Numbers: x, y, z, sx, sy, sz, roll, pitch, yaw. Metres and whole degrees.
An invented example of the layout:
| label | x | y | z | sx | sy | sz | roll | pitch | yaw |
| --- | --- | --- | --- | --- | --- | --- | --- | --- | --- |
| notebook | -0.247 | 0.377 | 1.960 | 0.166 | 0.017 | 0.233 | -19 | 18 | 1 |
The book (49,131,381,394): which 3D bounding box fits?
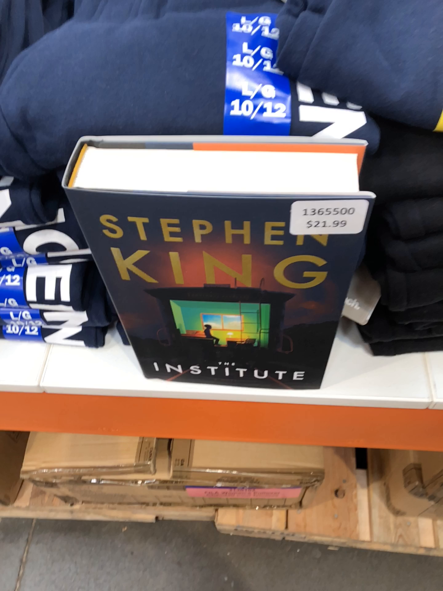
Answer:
| label | x | y | z | sx | sy | sz | roll | pitch | yaw |
| --- | --- | --- | --- | --- | --- | --- | --- | --- | --- |
| book | 0.002 | -0.005 | 0.352 | 0.167 | 0.229 | 0.050 | 2 | 55 | 5 |
